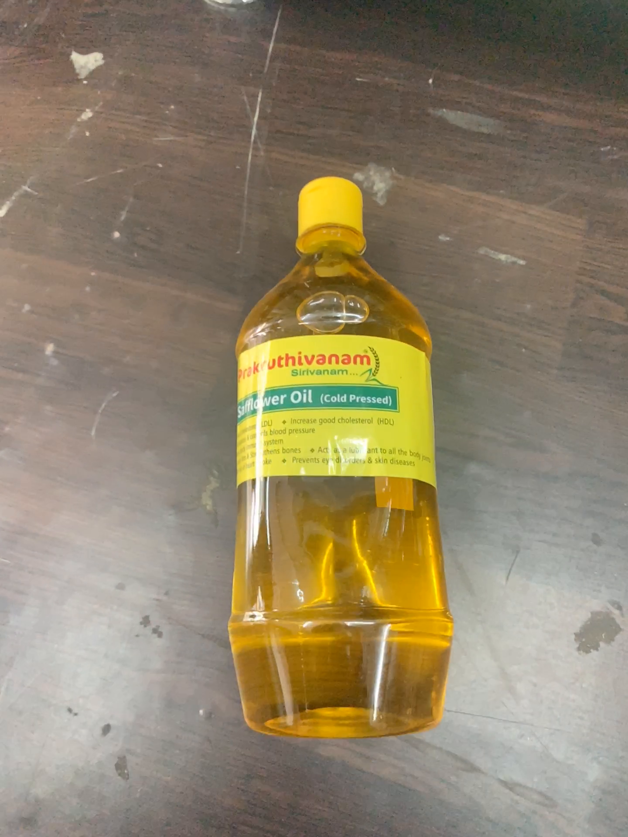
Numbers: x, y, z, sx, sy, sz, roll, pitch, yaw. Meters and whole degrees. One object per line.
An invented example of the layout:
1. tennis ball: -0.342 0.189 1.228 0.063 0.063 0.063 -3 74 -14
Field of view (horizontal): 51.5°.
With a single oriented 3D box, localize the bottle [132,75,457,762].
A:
1. bottle: -0.002 -0.002 0.259 0.090 0.080 0.230 -6 72 19
